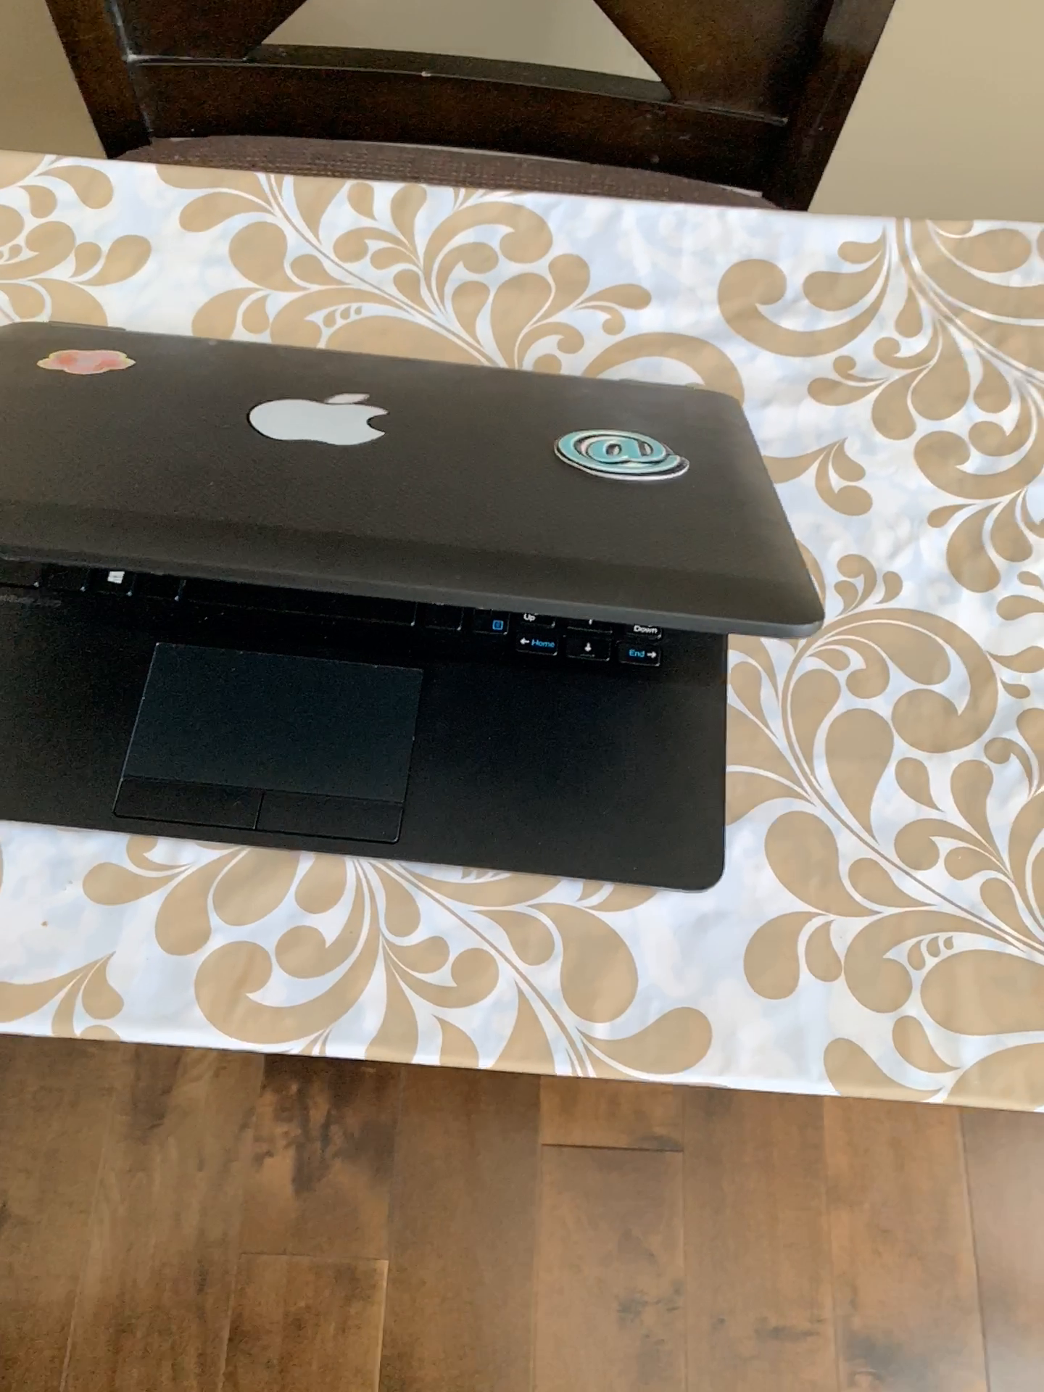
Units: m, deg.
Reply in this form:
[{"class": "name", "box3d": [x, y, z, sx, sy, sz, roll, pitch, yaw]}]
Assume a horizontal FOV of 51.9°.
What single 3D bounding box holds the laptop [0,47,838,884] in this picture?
[{"class": "laptop", "box3d": [-0.069, -0.067, 0.348, 0.300, 0.127, 0.199, 6, 66, 0]}]
